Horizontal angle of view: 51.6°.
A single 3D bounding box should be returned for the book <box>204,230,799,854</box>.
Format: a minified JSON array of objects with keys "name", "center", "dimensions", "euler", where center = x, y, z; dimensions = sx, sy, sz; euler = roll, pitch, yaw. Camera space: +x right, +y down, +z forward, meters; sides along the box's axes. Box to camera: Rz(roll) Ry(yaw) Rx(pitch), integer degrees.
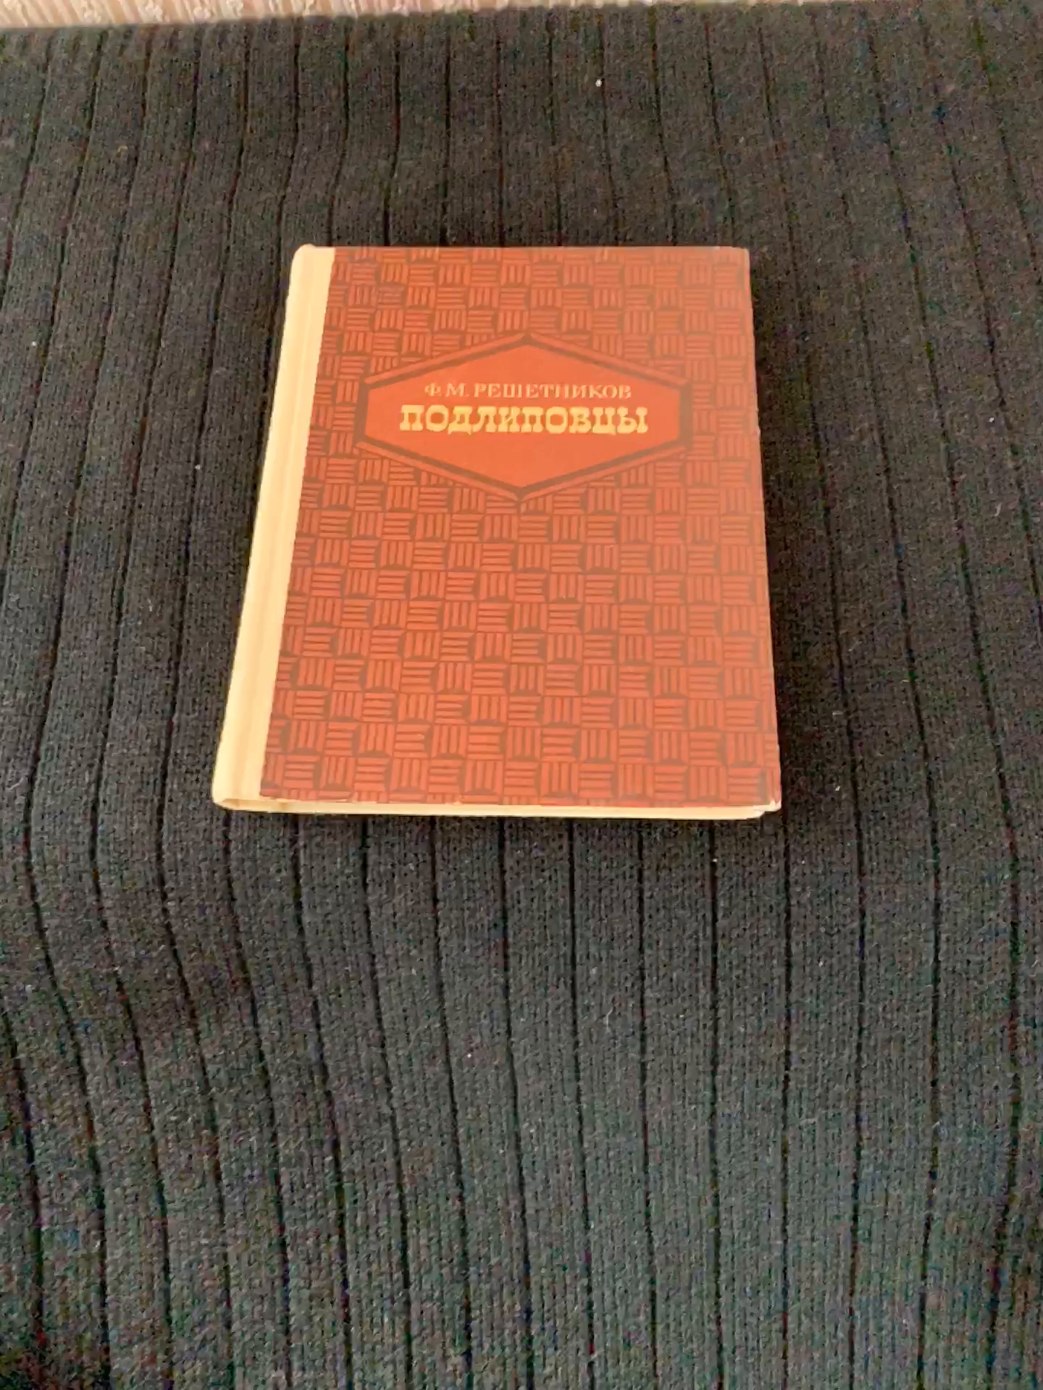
[{"name":"book","center":[-0.003,-0.048,0.278],"dimensions":[0.129,0.015,0.177],"euler":[0,66,2]}]
